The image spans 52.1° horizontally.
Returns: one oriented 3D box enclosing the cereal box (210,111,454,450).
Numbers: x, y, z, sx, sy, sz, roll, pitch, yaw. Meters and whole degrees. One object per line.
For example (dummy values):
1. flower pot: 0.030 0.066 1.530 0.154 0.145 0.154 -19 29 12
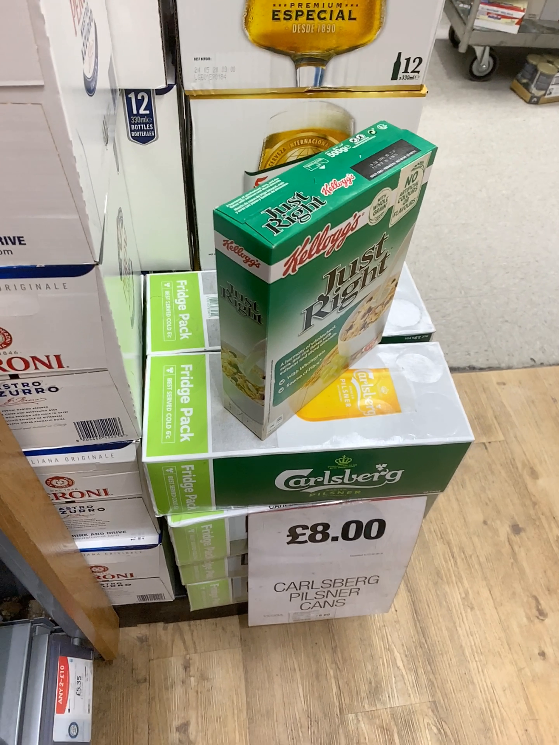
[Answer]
1. cereal box: 0.038 -0.072 0.507 0.070 0.238 0.191 39 59 24
